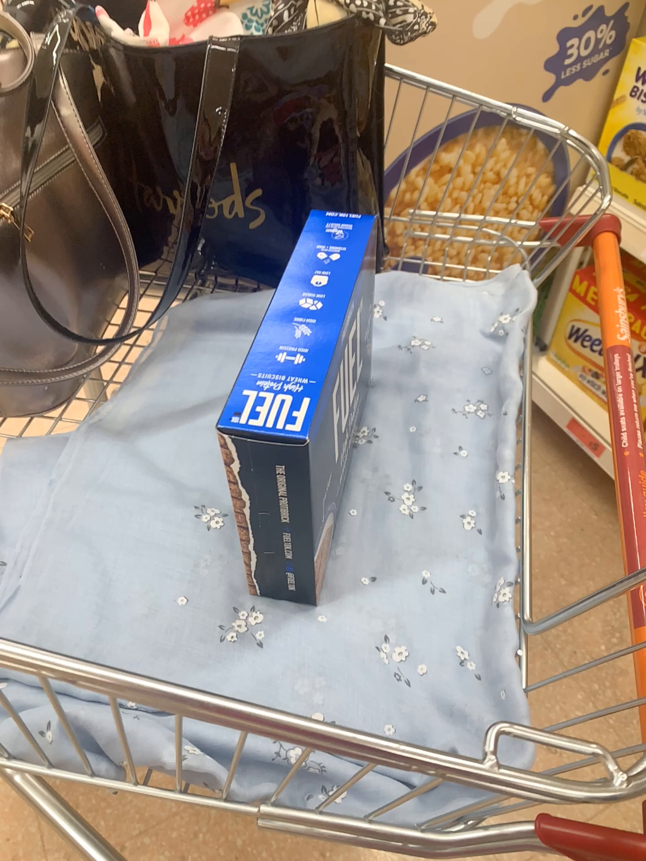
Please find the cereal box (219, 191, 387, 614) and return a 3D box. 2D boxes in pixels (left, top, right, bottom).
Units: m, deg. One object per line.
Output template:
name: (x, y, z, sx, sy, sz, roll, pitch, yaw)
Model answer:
cereal box: (-0.006, -0.027, 0.517, 0.060, 0.208, 0.252, 9, 46, 6)
